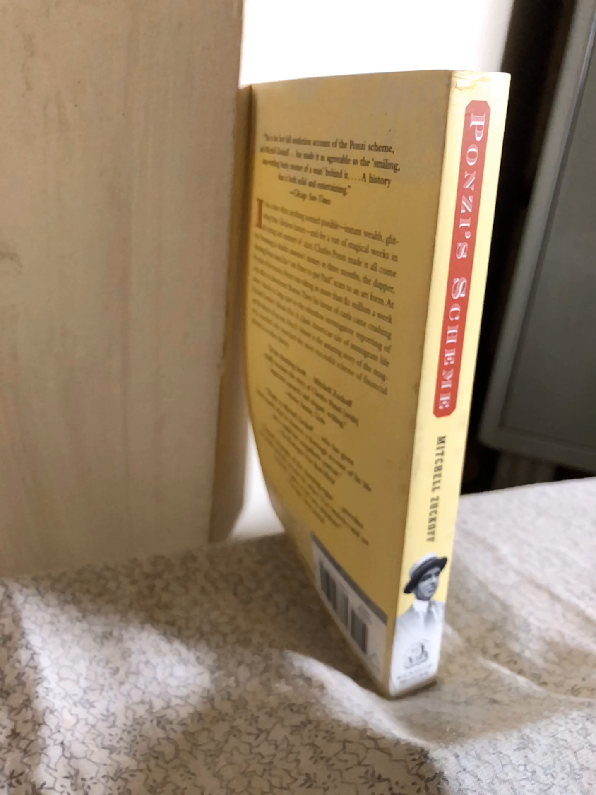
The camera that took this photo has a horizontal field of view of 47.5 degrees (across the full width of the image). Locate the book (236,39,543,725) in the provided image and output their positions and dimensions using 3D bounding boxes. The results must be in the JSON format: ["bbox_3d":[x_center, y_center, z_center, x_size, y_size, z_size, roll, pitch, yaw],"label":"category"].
[{"bbox_3d":[0.014,-0.013,0.259,0.040,0.209,0.140,-6,24,-19],"label":"book"}]
